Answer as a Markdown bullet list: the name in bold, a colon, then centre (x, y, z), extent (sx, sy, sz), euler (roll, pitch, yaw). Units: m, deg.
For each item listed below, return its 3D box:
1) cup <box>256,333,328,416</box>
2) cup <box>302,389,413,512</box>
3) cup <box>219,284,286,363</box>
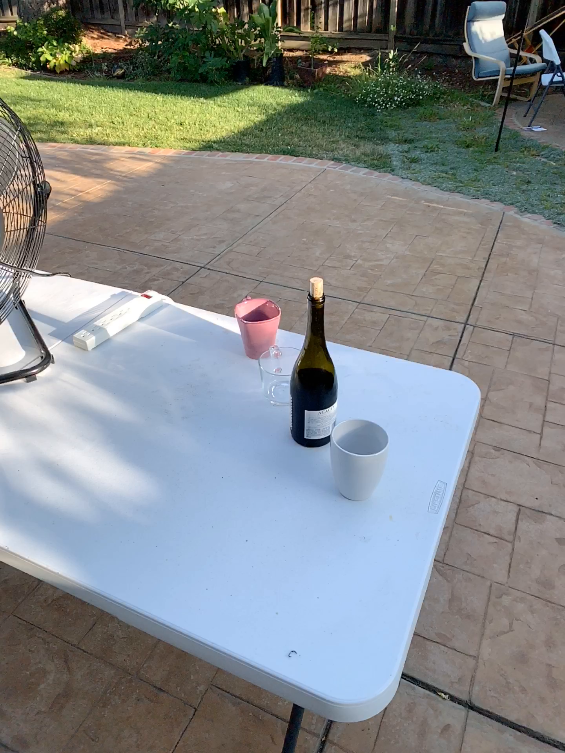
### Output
- **cup**: centre (0.017, -0.007, 1.176), extent (0.110, 0.089, 0.141), euler (-9, 37, -12)
- **cup**: centre (0.112, 0.112, 0.910), extent (0.110, 0.099, 0.141), euler (-16, 39, -20)
- **cup**: centre (-0.061, -0.110, 1.167), extent (0.110, 0.089, 0.141), euler (-8, 37, -10)
